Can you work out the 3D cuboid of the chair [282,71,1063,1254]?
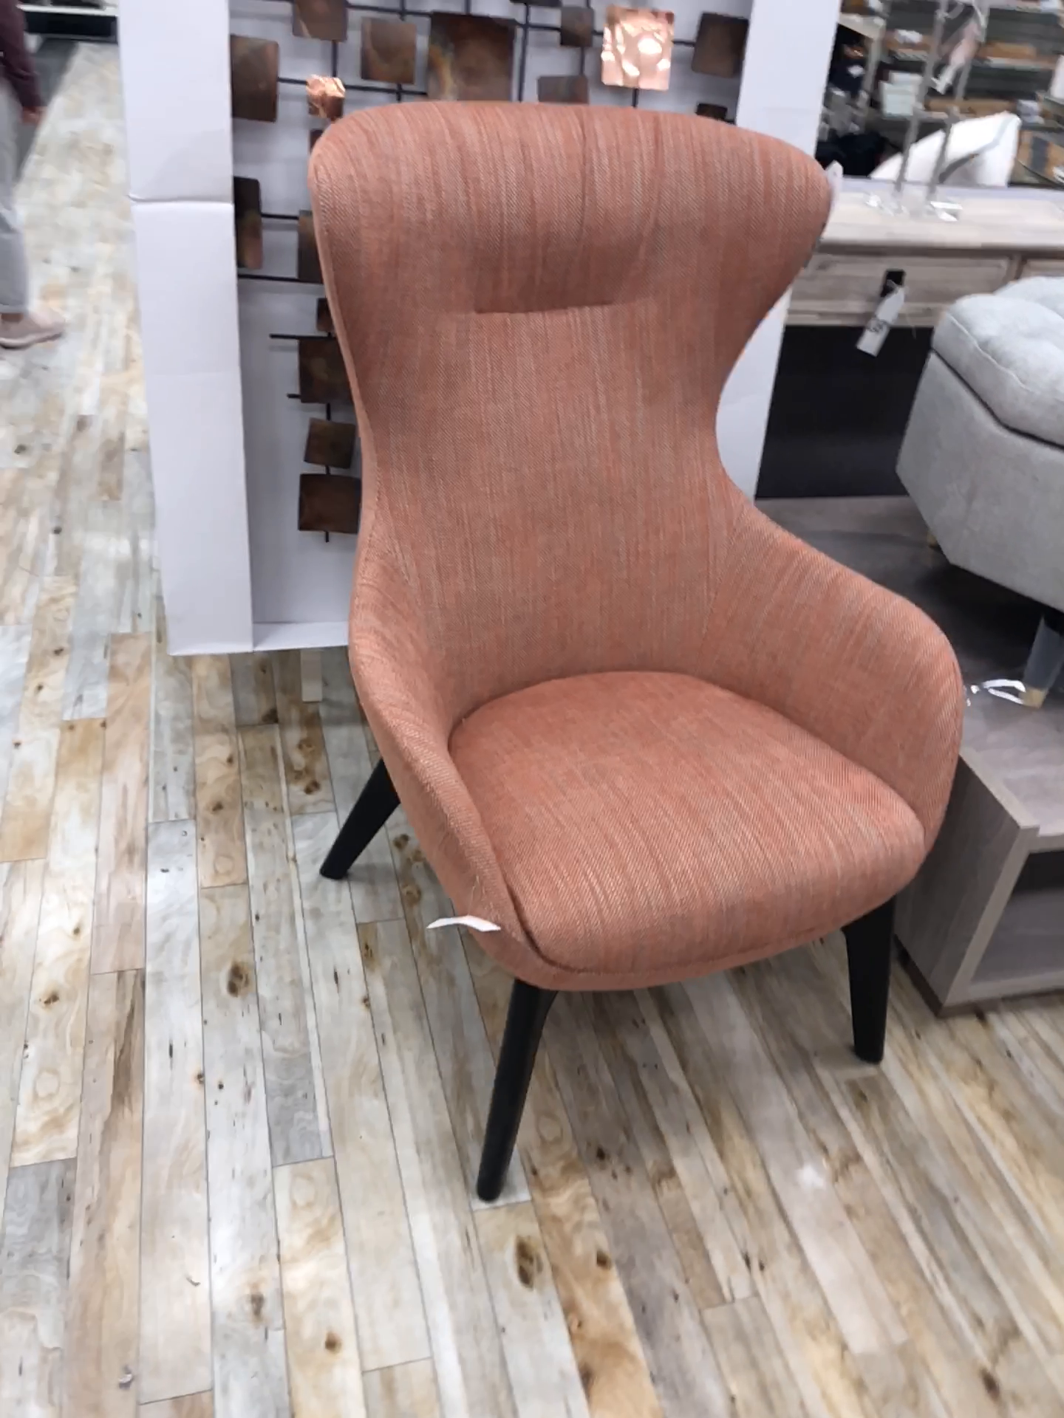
[{"bbox_3d":[0.152,-0.097,1.409,0.691,1.065,0.753,-10,38,-23],"label":"chair"}]
